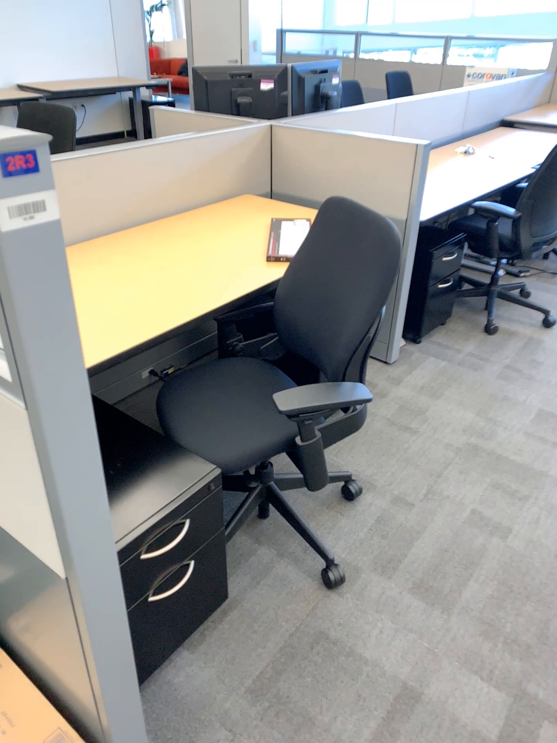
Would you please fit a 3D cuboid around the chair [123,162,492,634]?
[{"bbox_3d":[0.009,0.026,1.728,0.680,1.084,0.754,-12,34,-21],"label":"chair"}]

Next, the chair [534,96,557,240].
[{"bbox_3d":[3.396,-2.138,5.904,0.750,1.233,0.764,-15,35,-24],"label":"chair"}]

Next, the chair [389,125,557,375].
[{"bbox_3d":[1.275,-0.766,3.412,0.751,1.183,0.763,-25,40,-36],"label":"chair"}]

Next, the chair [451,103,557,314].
[{"bbox_3d":[1.853,-1.157,3.929,0.750,1.183,0.764,-15,35,-24],"label":"chair"}]
